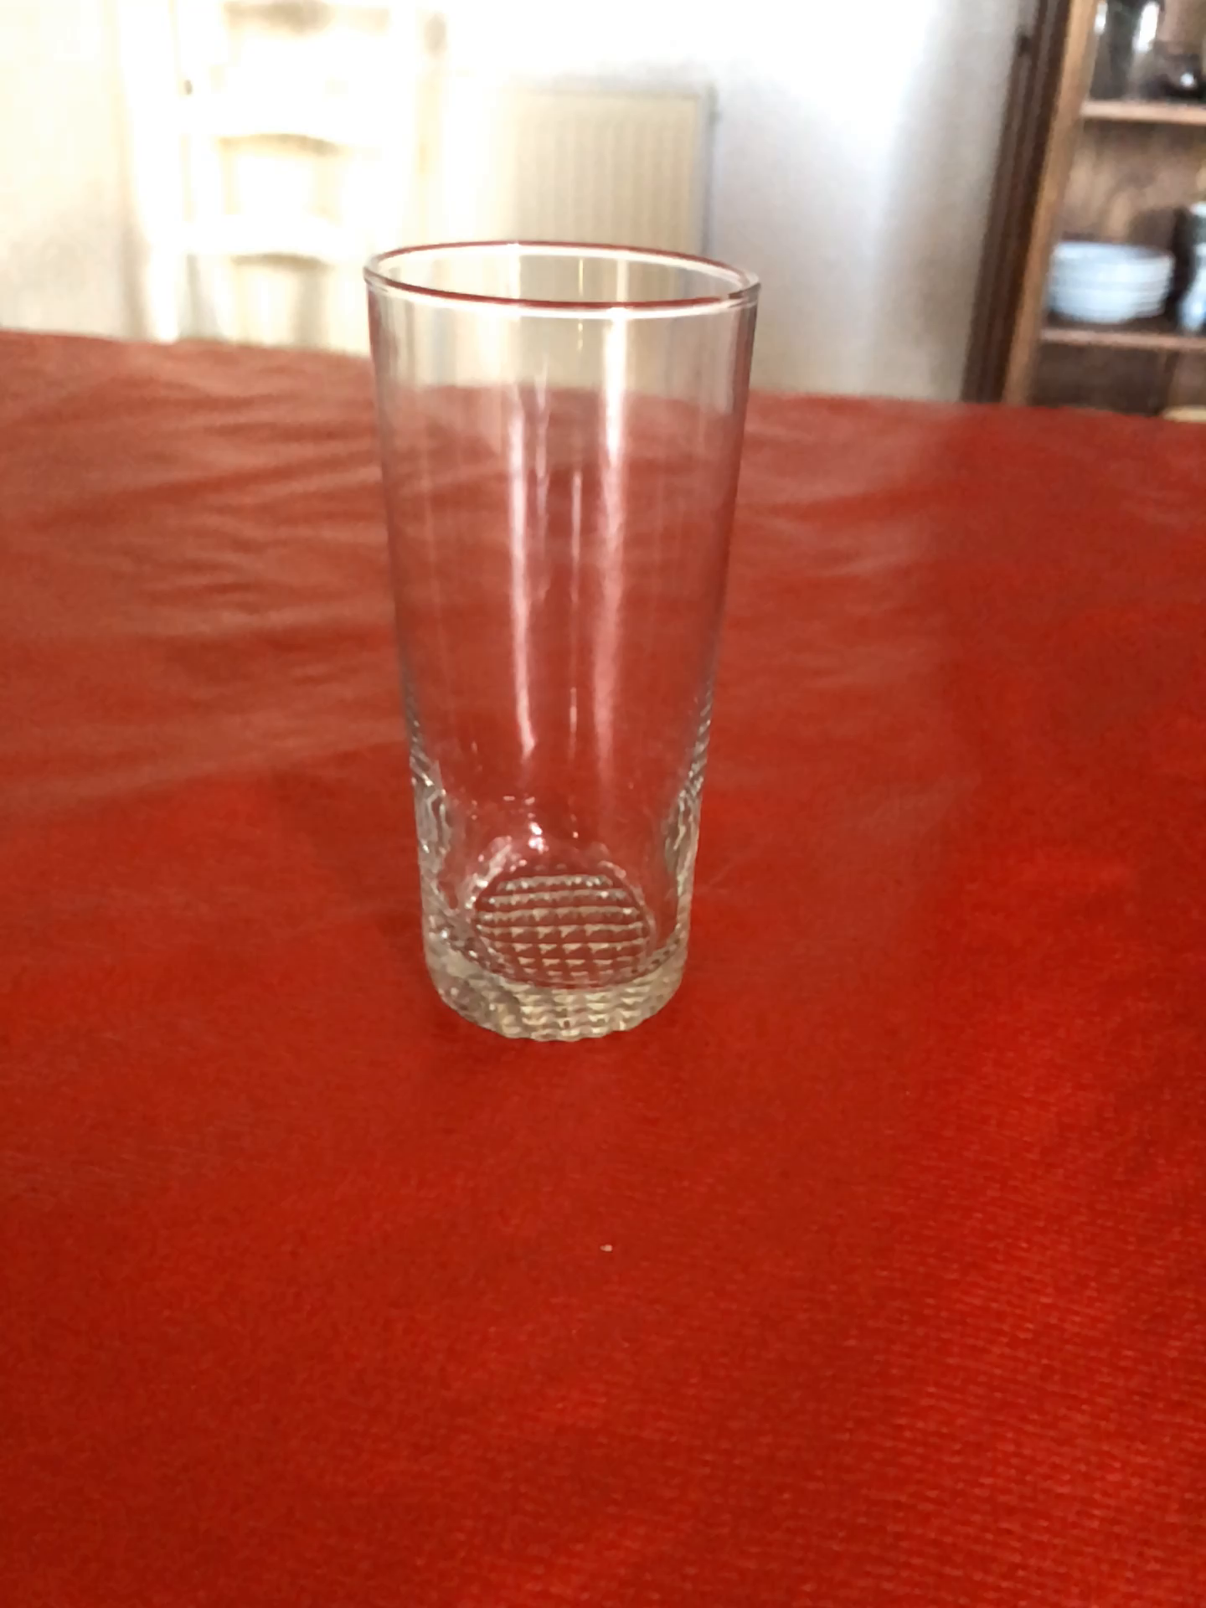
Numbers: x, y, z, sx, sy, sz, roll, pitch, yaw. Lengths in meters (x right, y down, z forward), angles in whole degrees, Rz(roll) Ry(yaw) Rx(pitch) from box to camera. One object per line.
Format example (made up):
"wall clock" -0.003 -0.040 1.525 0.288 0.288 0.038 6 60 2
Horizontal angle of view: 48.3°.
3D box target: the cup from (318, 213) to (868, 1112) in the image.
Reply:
"cup" -0.006 -0.029 0.261 0.070 0.149 0.070 1 30 -1
